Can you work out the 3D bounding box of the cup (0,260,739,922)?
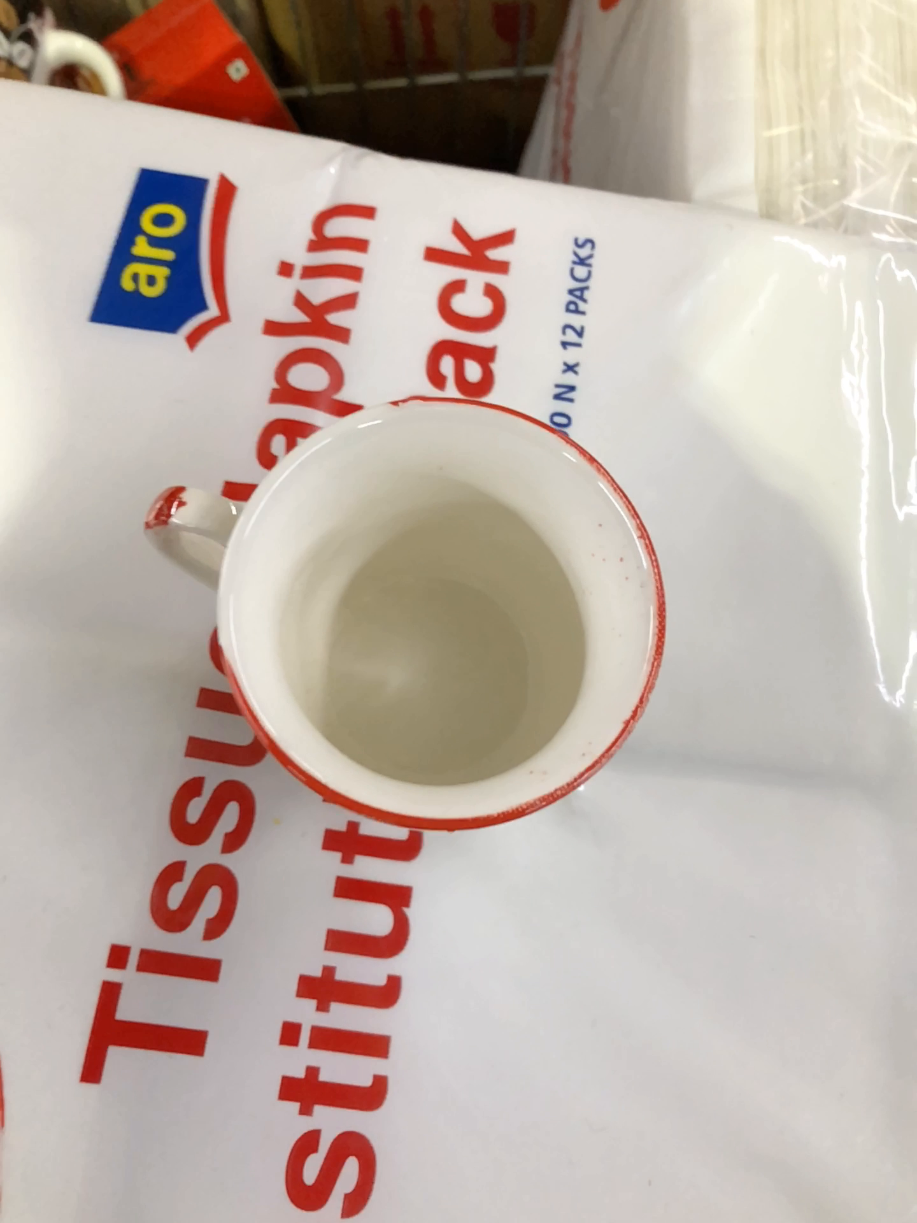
[{"bbox_3d":[-0.014,0.001,0.175,0.090,0.060,0.070,20,76,2],"label":"cup"}]
